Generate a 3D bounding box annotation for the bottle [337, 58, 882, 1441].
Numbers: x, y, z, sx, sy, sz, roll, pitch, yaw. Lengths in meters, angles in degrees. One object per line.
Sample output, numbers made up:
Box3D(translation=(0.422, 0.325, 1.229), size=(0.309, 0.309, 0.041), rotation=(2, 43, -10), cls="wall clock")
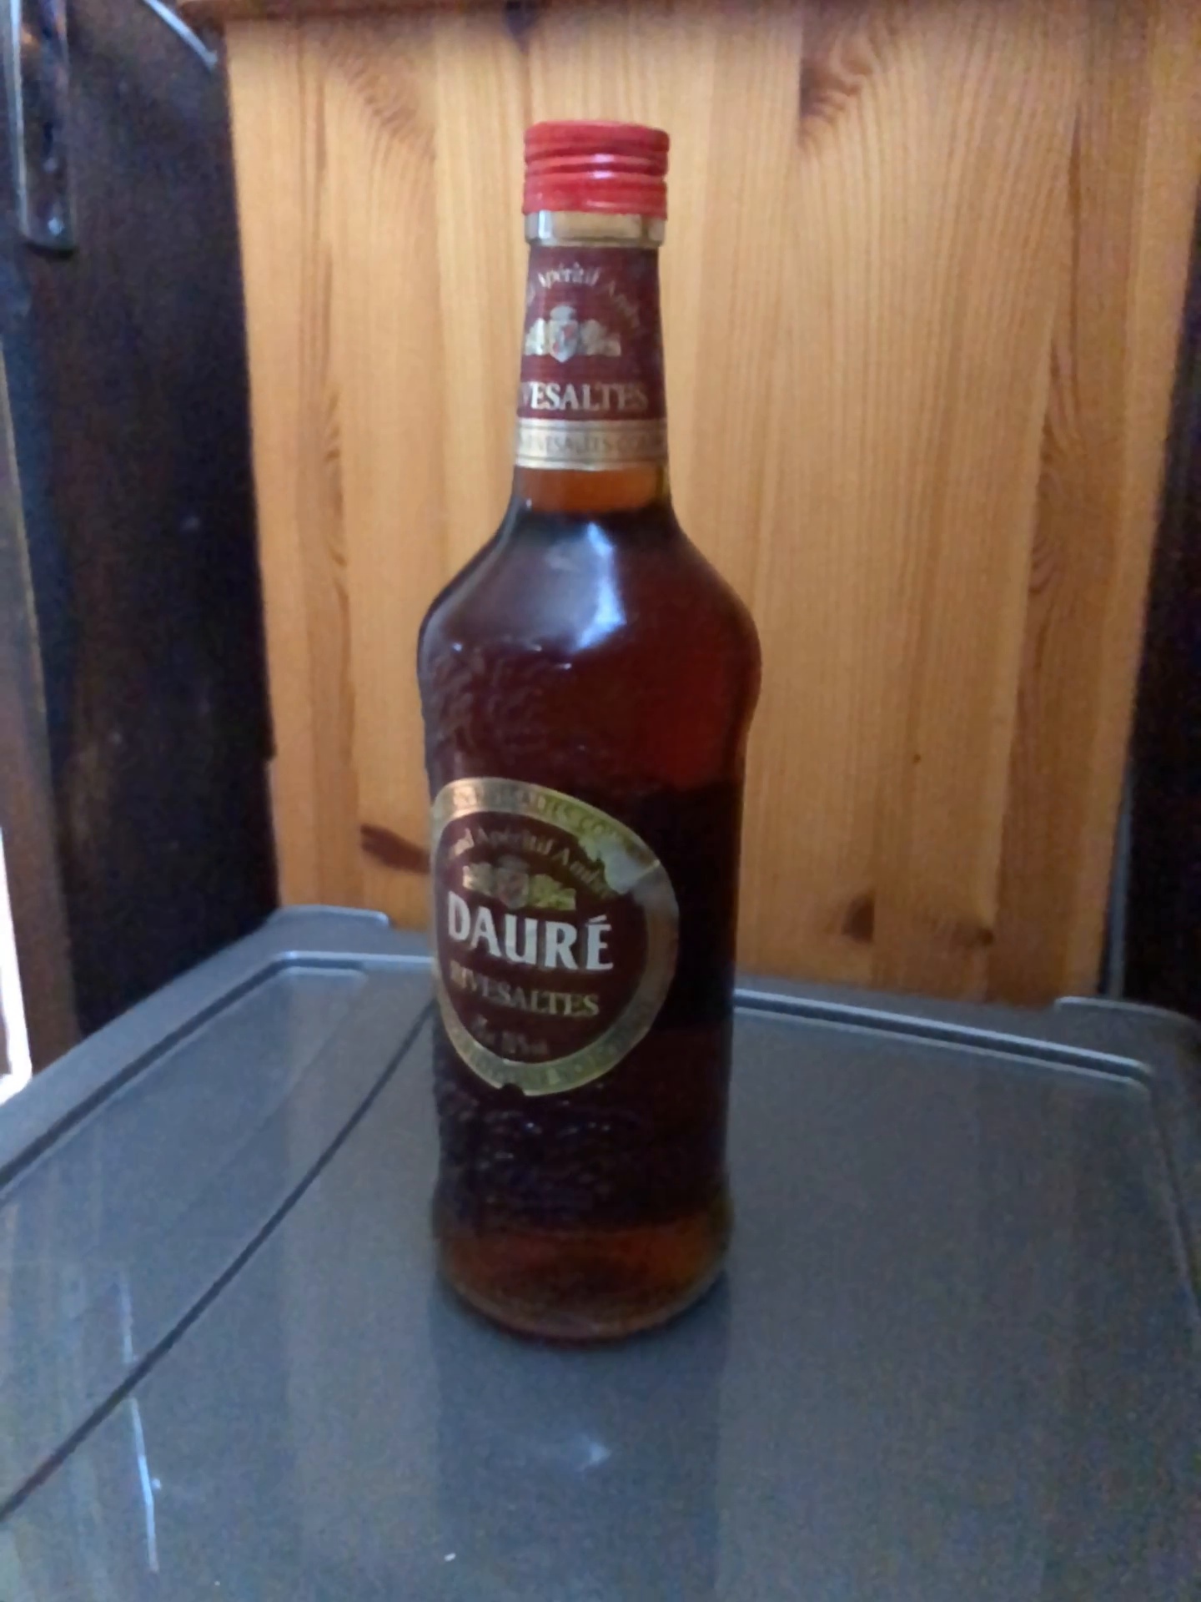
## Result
Box3D(translation=(0.004, -0.006, 0.334), size=(0.090, 0.299, 0.091), rotation=(1, 18, 0), cls="bottle")
